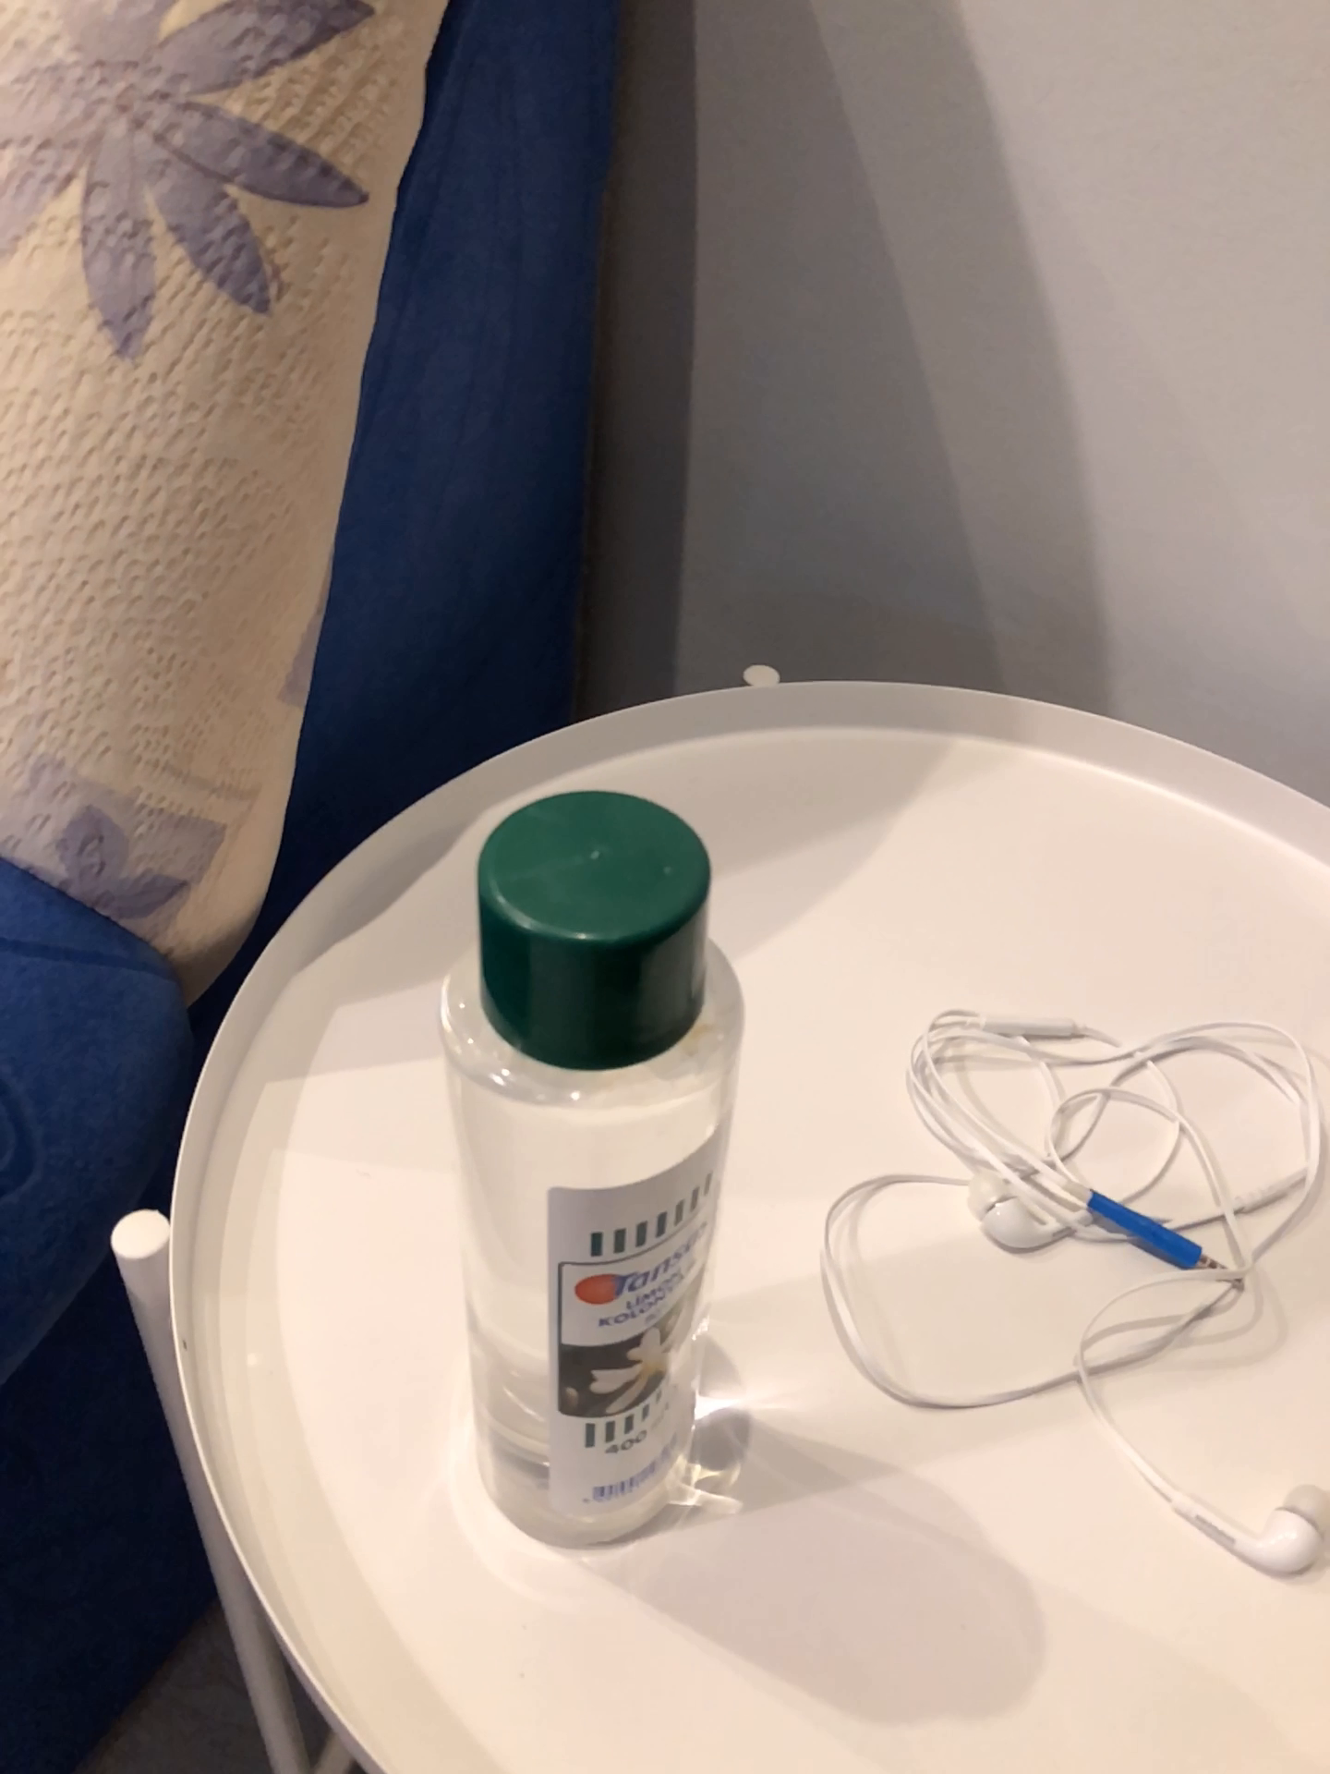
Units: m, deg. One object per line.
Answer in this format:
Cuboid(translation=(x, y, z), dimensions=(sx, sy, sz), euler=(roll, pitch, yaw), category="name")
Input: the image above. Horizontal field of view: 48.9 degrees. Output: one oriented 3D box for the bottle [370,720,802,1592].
Cuboid(translation=(-0.020, 0.068, 0.309), dimensions=(0.052, 0.199, 0.060), euler=(-17, 46, -22), category="bottle")
